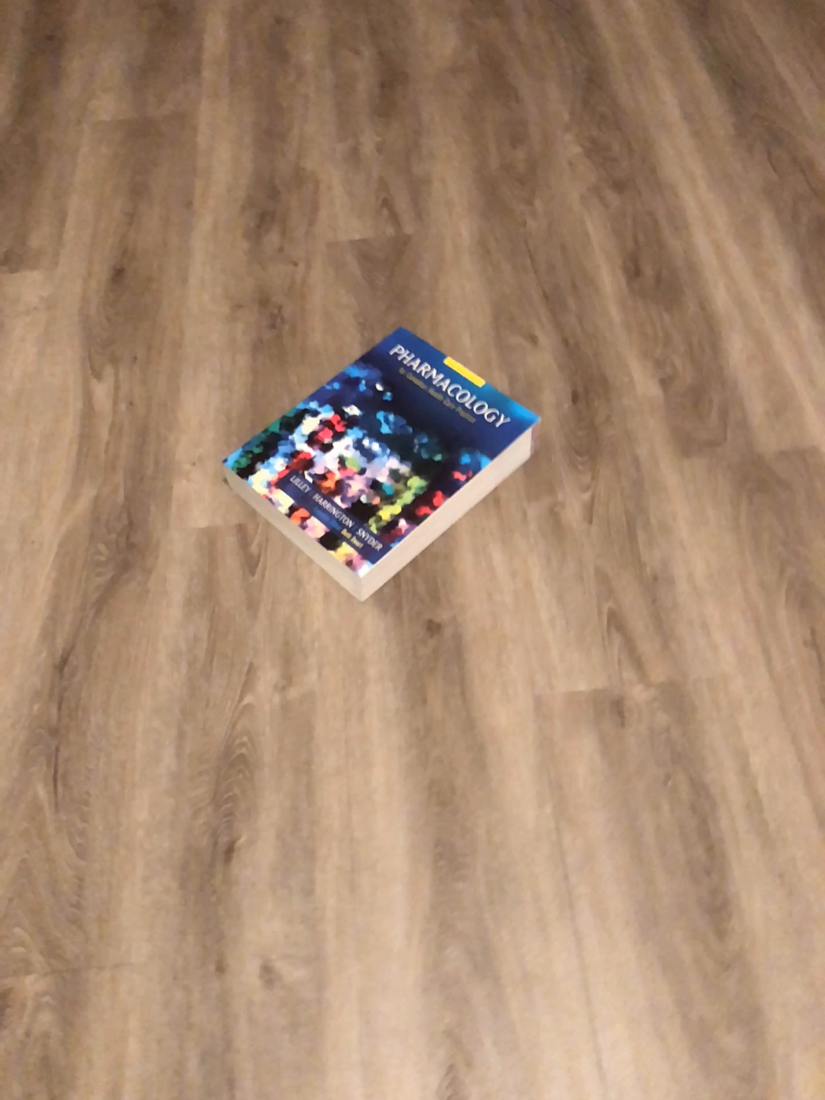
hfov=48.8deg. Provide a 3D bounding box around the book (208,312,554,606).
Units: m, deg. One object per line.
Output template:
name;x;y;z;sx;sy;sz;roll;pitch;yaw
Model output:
book;-0.031;-0.109;0.956;0.229;0.046;0.278;38;66;24
